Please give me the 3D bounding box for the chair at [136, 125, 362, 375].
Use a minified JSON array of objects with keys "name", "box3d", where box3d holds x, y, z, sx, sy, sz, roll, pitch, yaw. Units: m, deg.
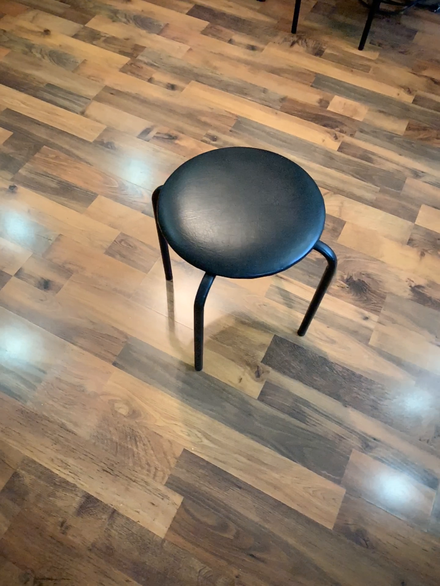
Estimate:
[{"name":"chair","box3d":[0.045,-0.080,1.078,0.350,0.427,0.332,-18,63,-10]}]
